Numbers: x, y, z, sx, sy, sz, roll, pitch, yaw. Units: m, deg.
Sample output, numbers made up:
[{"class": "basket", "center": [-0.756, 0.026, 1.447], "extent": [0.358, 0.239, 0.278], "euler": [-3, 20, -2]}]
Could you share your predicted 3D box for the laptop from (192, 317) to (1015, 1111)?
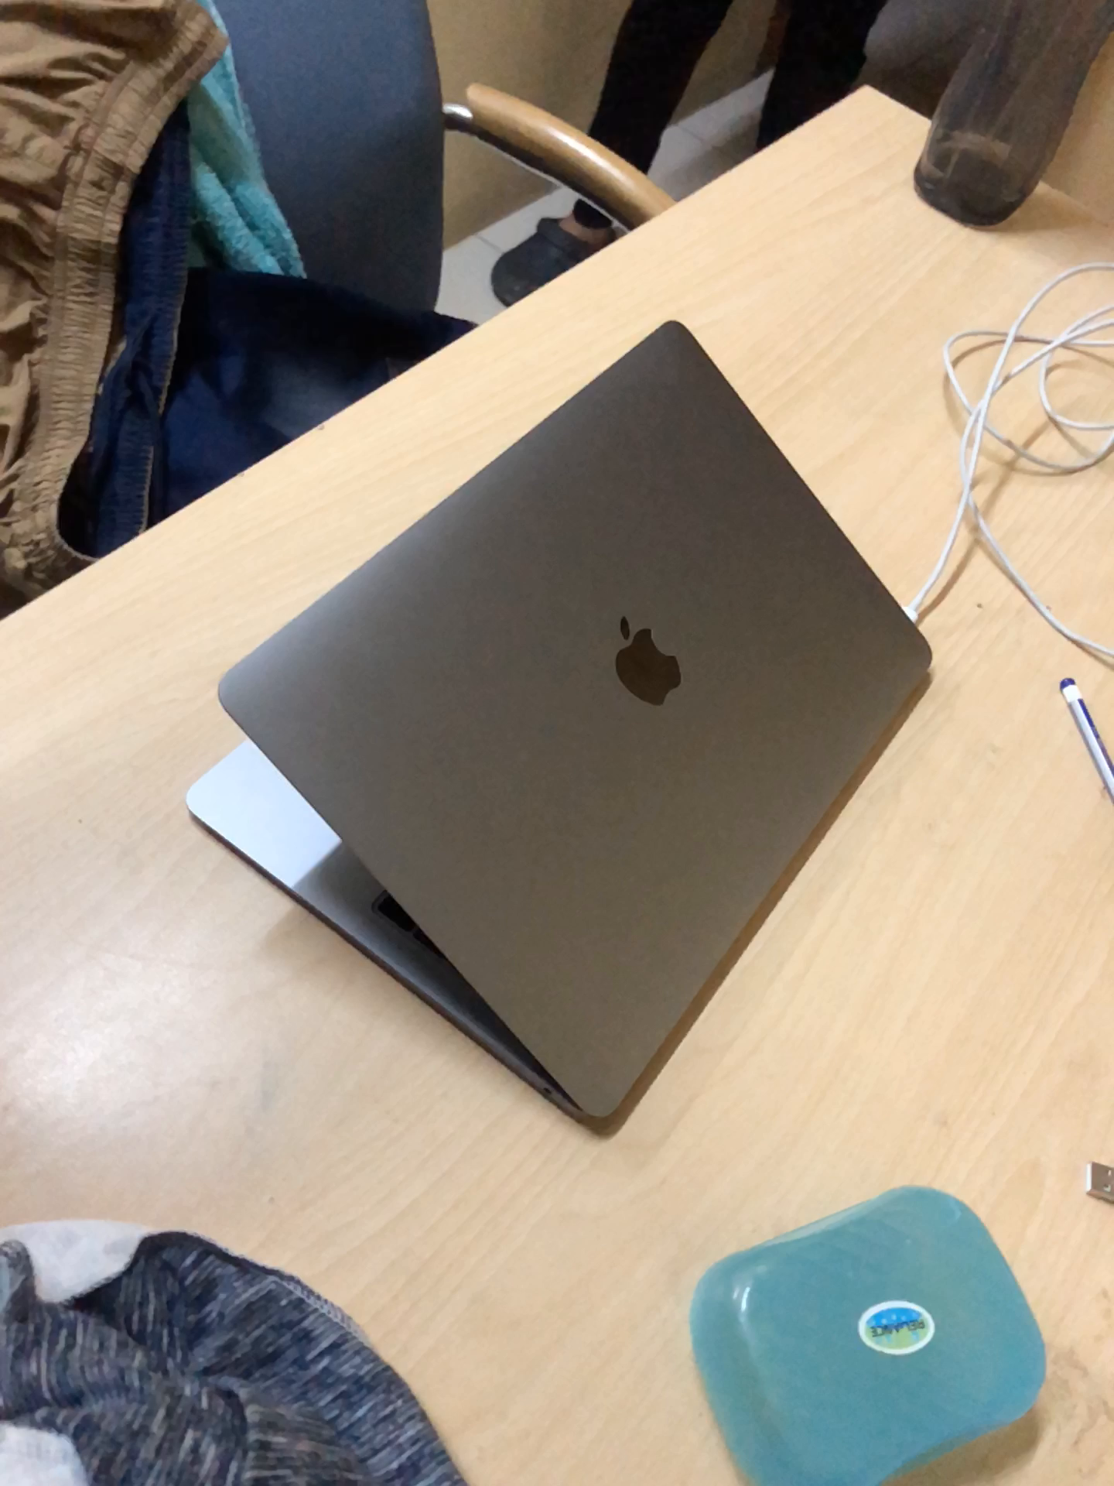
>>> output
[{"class": "laptop", "center": [0.029, -0.035, 0.514], "extent": [0.193, 0.094, 0.295], "euler": [35, 55, 14]}]
